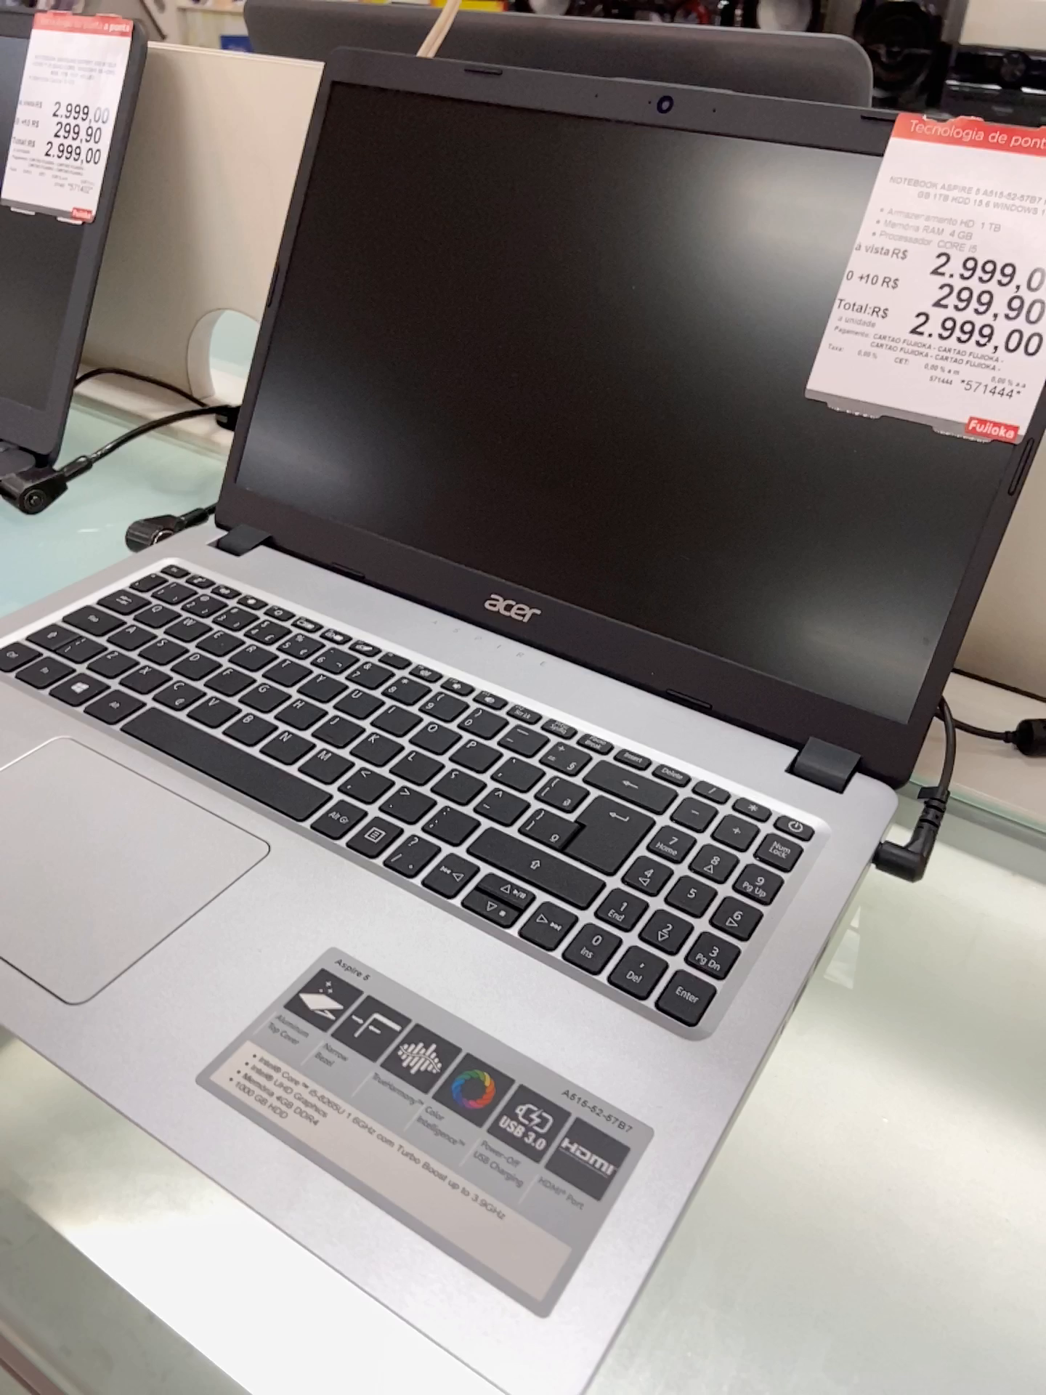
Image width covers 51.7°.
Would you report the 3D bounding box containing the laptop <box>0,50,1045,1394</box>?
[{"bbox_3d":[-0.044,-0.083,0.380,0.367,0.205,0.374,22,40,25],"label":"laptop"}]
